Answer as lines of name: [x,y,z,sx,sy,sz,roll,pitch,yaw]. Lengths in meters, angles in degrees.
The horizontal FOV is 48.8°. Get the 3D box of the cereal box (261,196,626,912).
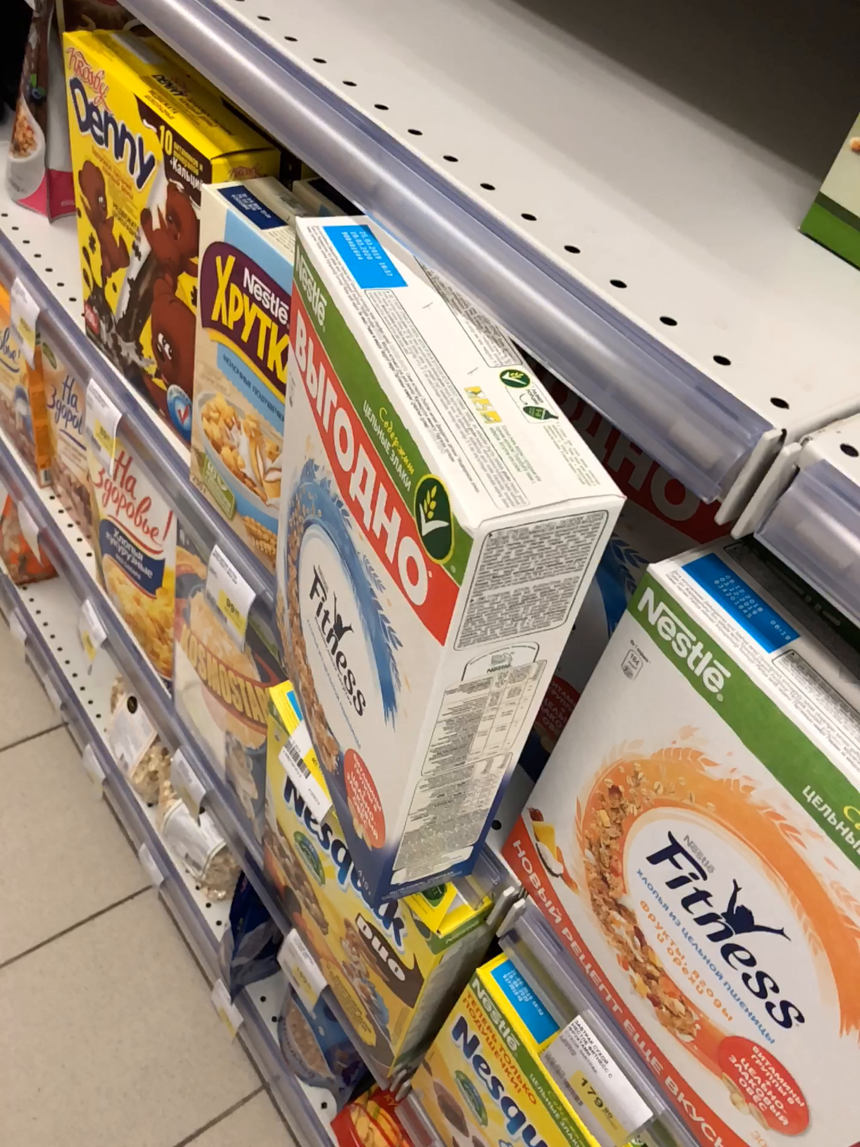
cereal box: [-0.023,0.003,0.464,0.060,0.288,0.201,-11,51,-21]
